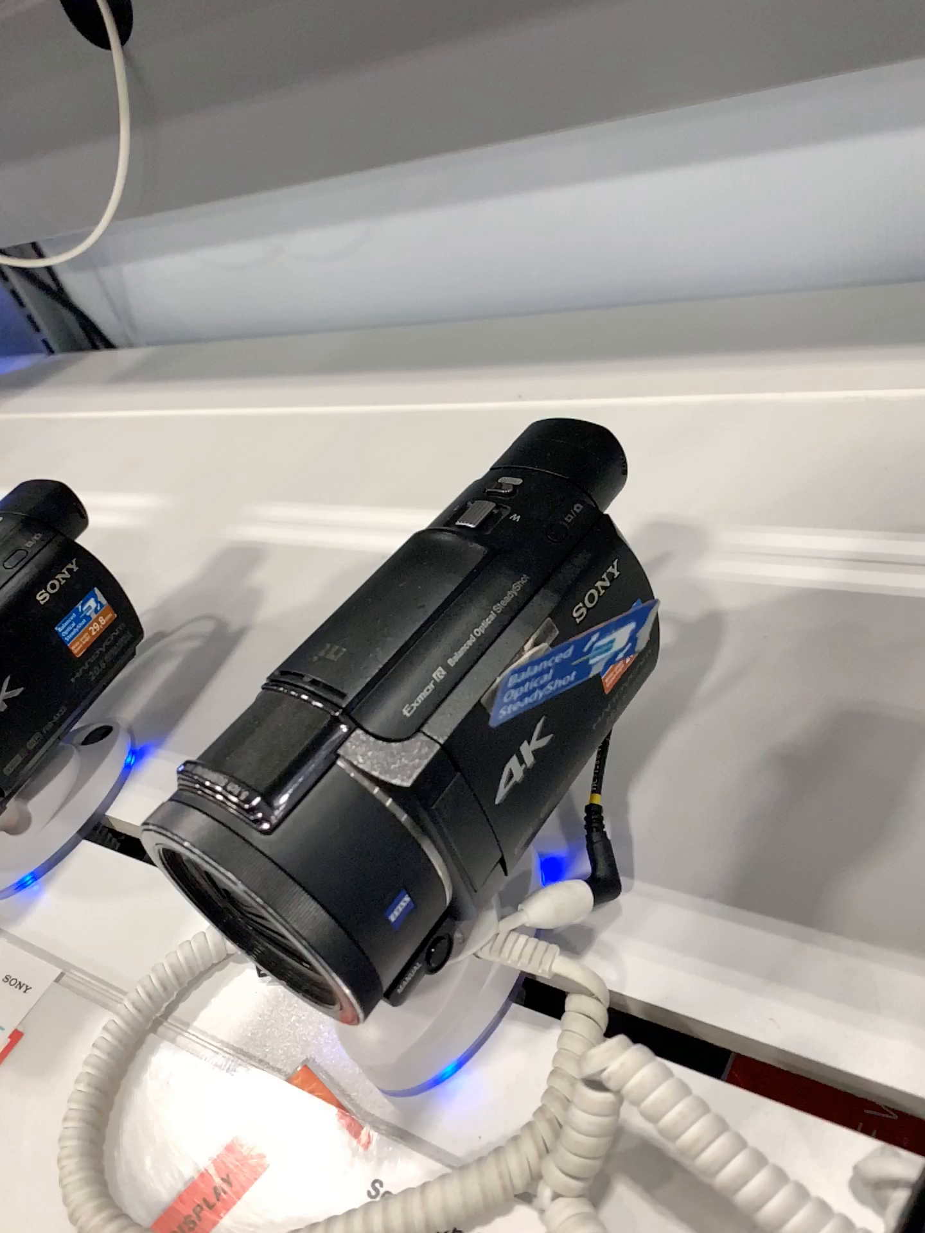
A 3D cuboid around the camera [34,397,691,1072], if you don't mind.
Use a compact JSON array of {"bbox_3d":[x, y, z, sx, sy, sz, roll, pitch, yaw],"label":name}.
[{"bbox_3d":[-0.013,0.017,0.247,0.070,0.071,0.151,15,51,39],"label":"camera"}]
